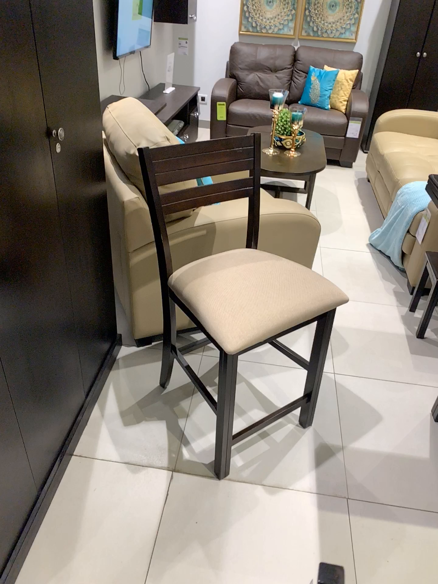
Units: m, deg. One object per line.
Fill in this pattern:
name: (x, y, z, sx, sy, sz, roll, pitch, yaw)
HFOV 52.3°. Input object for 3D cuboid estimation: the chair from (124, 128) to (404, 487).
chair: (0.076, 0.020, 1.491, 0.521, 0.916, 0.592, -19, 40, -32)
